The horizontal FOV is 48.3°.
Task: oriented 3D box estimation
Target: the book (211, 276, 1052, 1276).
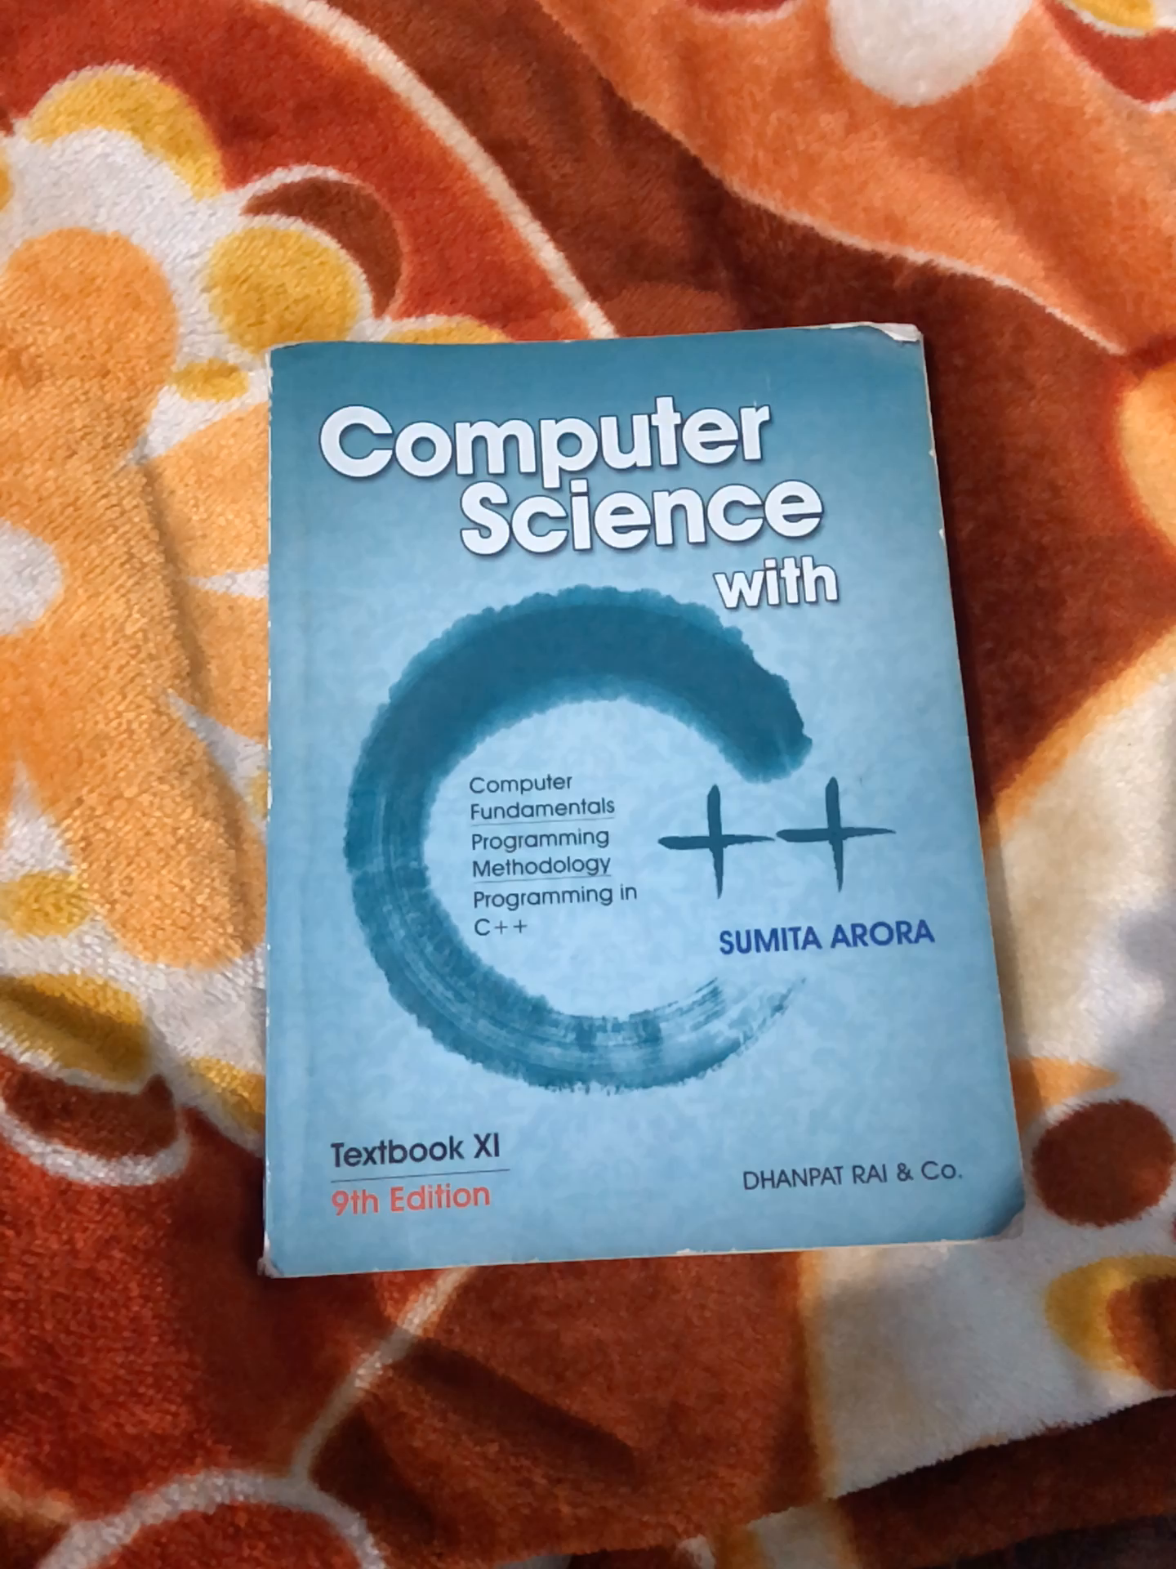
[{"bbox_3d":[0.006,-0.011,0.374,0.210,0.040,0.270,-2,78,-3],"label":"book"}]
